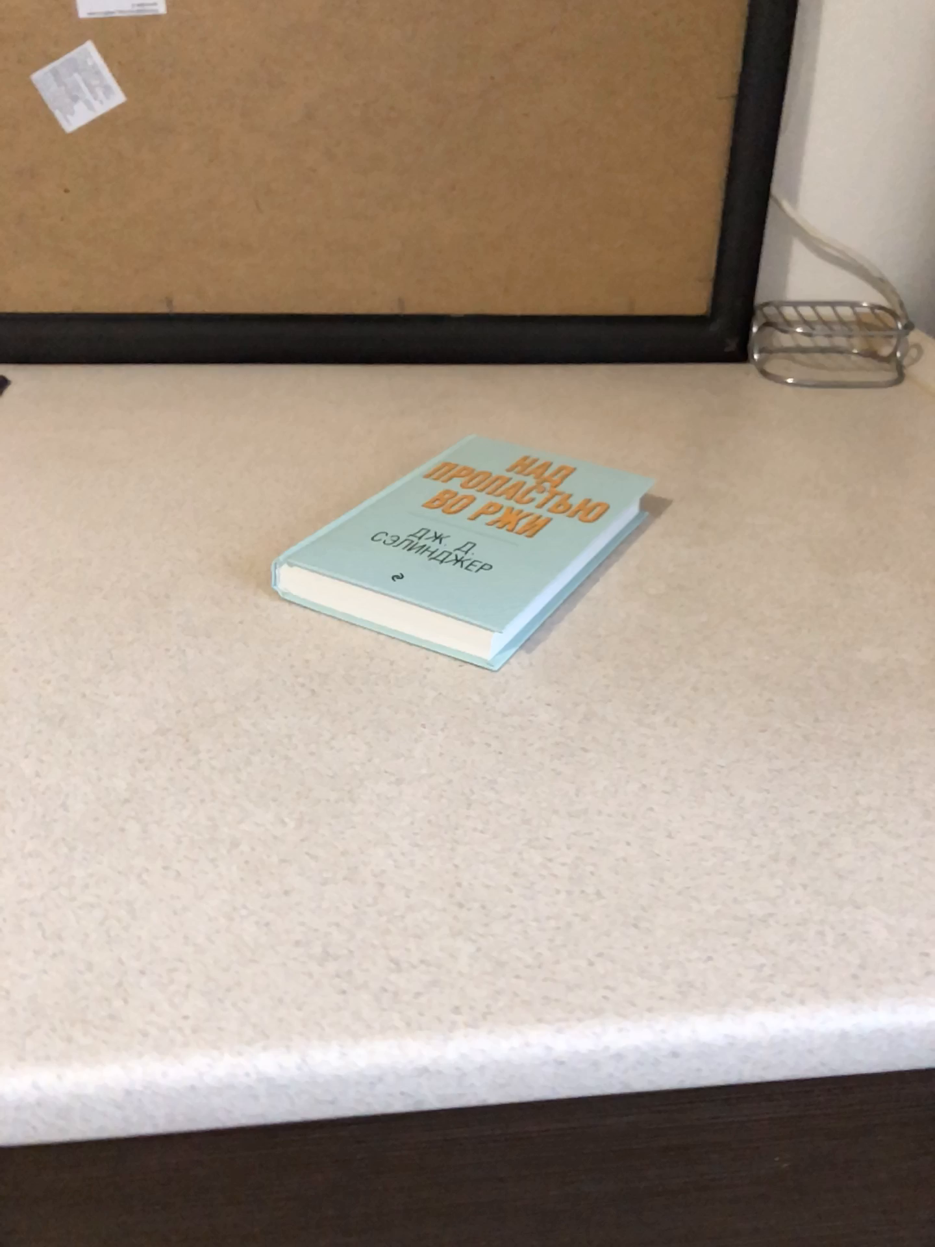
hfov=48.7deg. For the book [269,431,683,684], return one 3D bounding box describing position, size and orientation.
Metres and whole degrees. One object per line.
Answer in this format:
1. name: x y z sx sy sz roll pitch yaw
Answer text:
1. book: 0.012 -0.042 0.484 0.118 0.020 0.181 18 35 25
